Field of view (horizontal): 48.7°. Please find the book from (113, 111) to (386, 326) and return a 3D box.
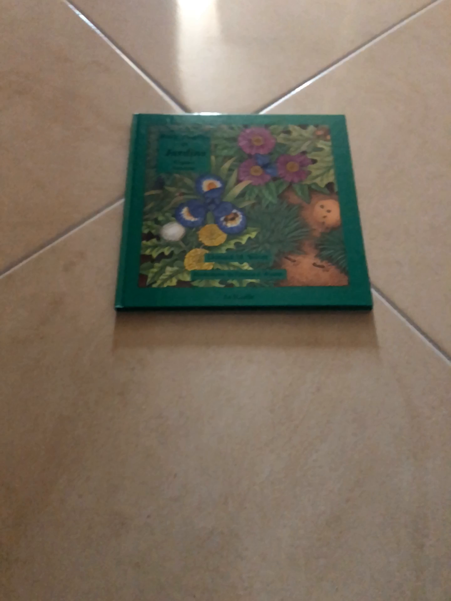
[{"bbox_3d":[0.021,-0.091,0.504,0.240,0.030,0.241,0,64,-1],"label":"book"}]
